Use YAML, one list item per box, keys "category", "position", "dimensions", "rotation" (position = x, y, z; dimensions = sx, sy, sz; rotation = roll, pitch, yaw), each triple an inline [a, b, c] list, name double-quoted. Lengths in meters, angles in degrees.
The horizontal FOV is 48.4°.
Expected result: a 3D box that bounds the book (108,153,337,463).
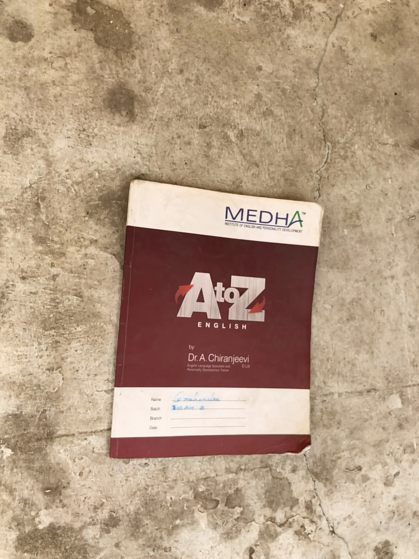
- category: "book"
  position: [0.021, 0.031, 0.467]
  dimensions: [0.220, 0.030, 0.280]
  rotation: [4, 84, -17]
